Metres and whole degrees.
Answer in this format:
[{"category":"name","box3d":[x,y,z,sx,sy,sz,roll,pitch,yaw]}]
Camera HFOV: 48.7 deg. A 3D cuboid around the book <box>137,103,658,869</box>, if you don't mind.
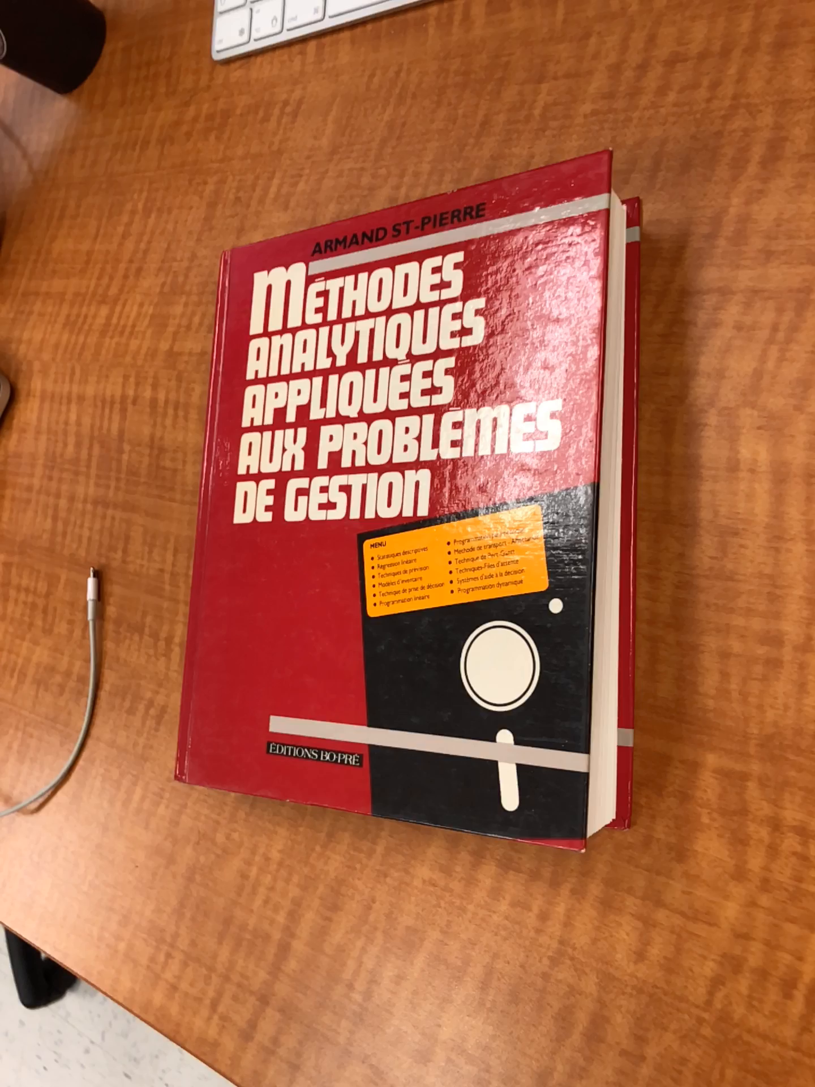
[{"category":"book","box3d":[-0.009,-0.020,0.363,0.201,0.050,0.250,-1,81,33]}]
